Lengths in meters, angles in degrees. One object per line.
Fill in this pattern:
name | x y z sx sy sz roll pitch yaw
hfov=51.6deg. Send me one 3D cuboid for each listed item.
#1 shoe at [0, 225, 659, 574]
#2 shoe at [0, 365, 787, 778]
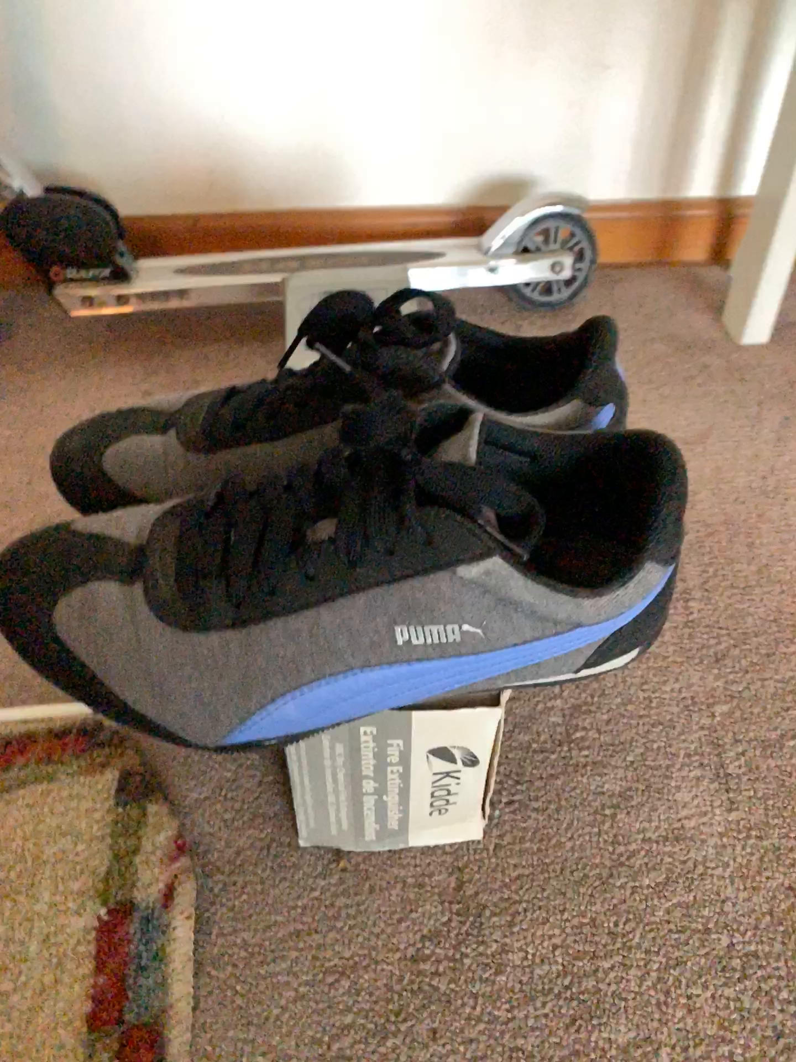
shoe | -0.028 -0.061 0.358 0.240 0.077 0.111 -6 44 -1
shoe | -0.017 0.009 0.291 0.250 0.077 0.101 -5 39 -3
